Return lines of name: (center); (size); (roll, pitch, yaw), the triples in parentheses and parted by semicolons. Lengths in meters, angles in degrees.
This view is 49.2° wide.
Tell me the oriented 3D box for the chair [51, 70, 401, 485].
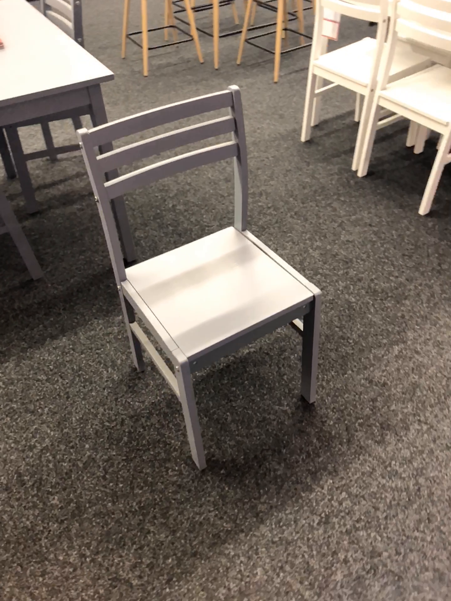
chair: (-0.006, -0.047, 1.223); (0.492, 0.766, 0.491); (-26, 49, -22)
